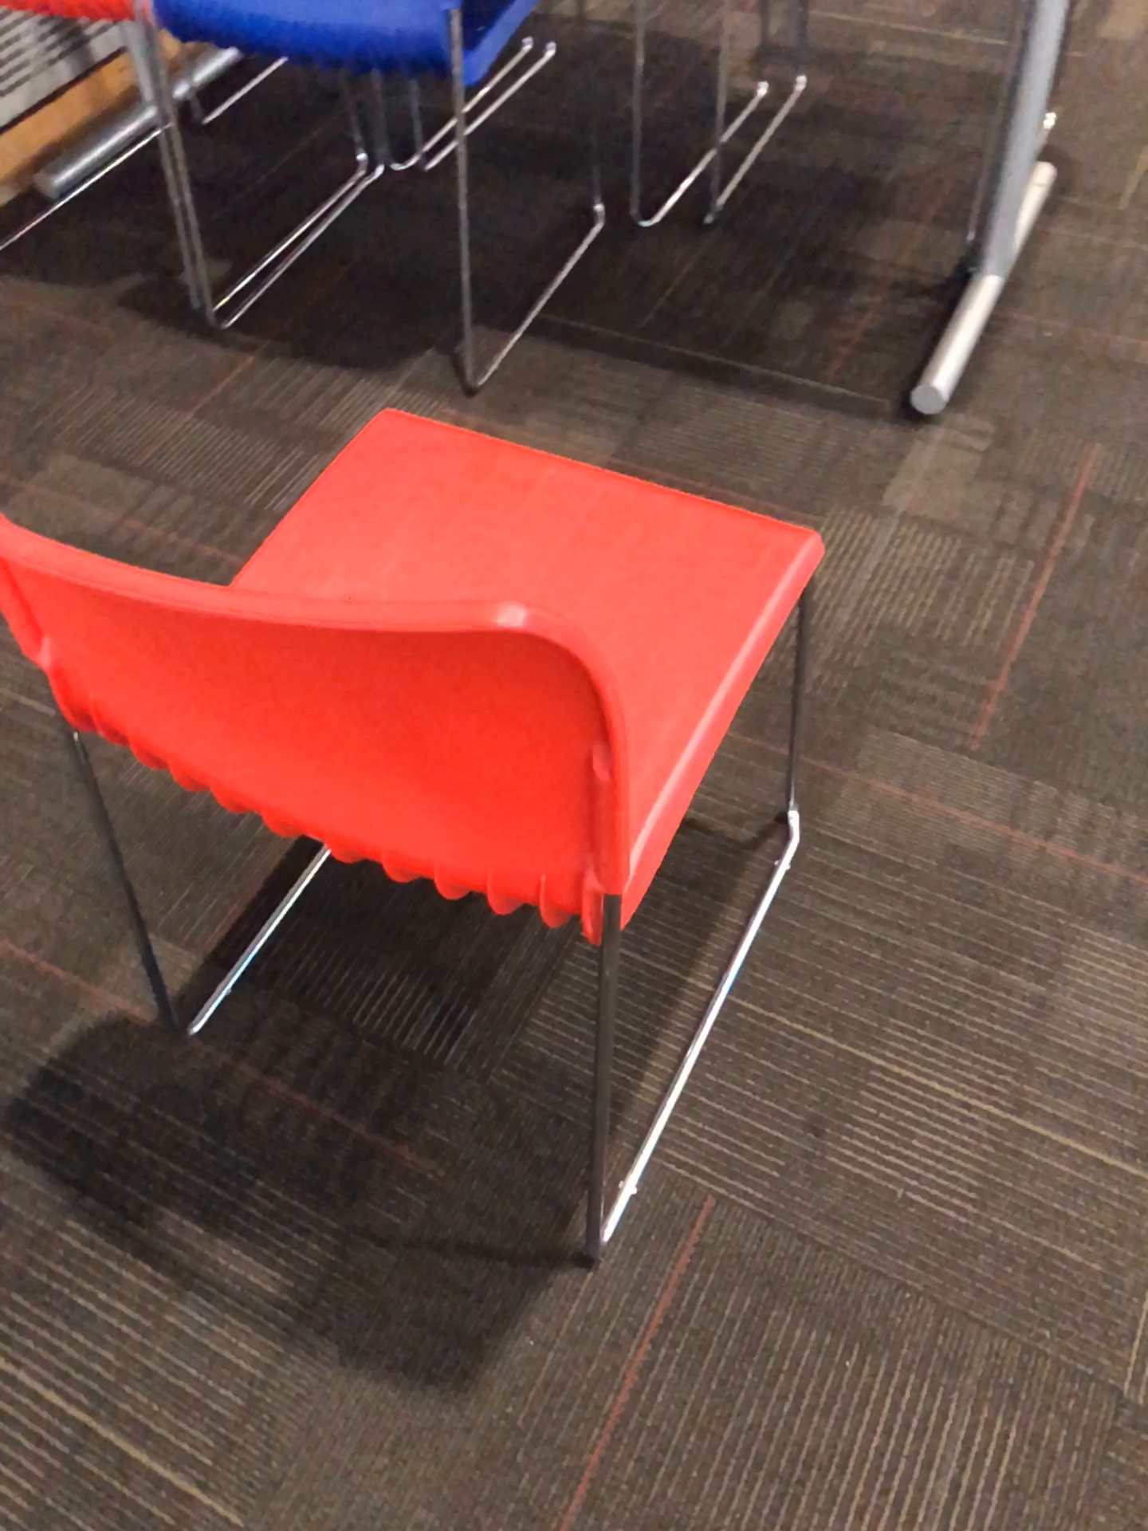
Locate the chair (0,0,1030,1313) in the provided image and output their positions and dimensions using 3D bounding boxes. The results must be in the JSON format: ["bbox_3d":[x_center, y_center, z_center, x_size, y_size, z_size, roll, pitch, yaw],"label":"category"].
[{"bbox_3d":[-0.094,-0.098,0.999,0.561,0.767,0.611,21,56,20],"label":"chair"}]
